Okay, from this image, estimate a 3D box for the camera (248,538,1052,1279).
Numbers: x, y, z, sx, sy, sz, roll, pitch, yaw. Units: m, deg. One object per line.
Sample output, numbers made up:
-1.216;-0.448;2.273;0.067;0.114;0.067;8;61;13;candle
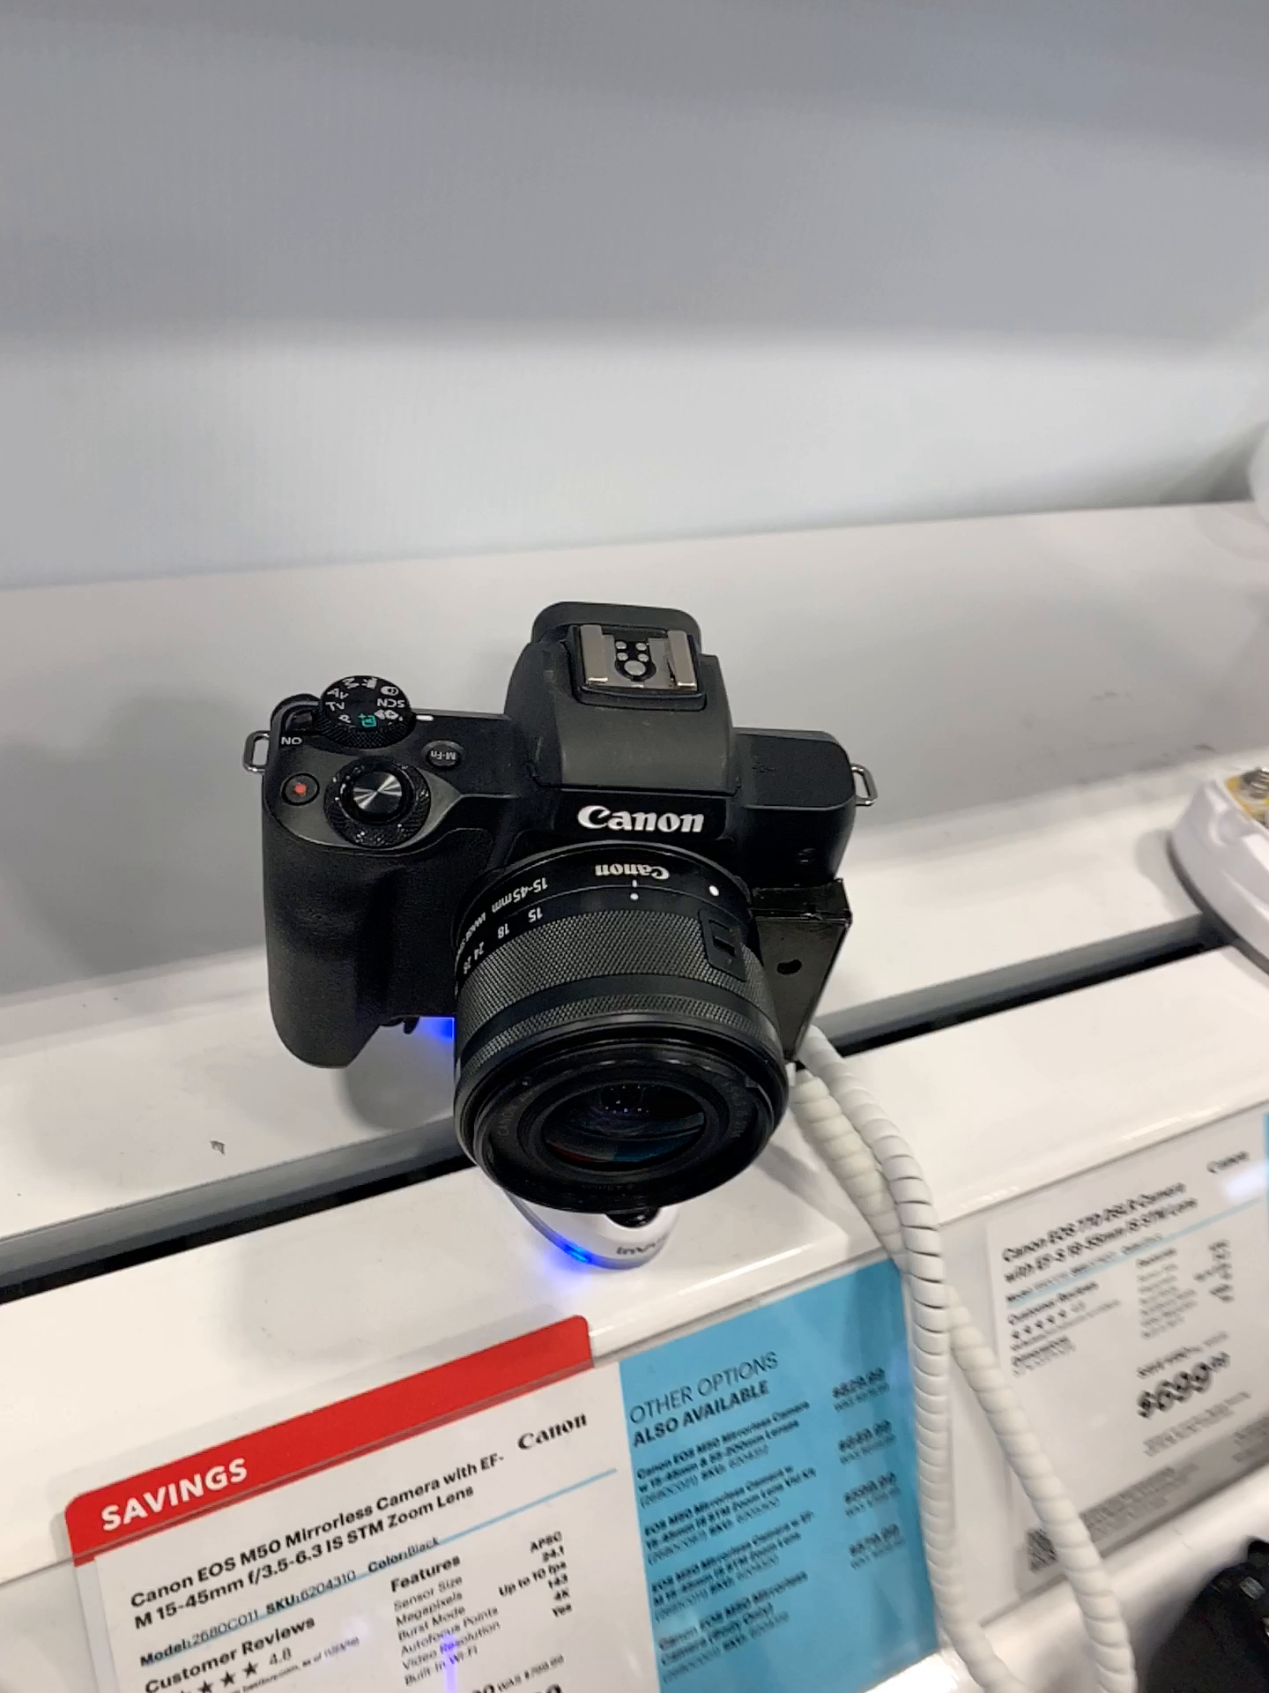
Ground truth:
-0.010;0.009;0.256;0.121;0.080;0.110;1;45;-15;camera
